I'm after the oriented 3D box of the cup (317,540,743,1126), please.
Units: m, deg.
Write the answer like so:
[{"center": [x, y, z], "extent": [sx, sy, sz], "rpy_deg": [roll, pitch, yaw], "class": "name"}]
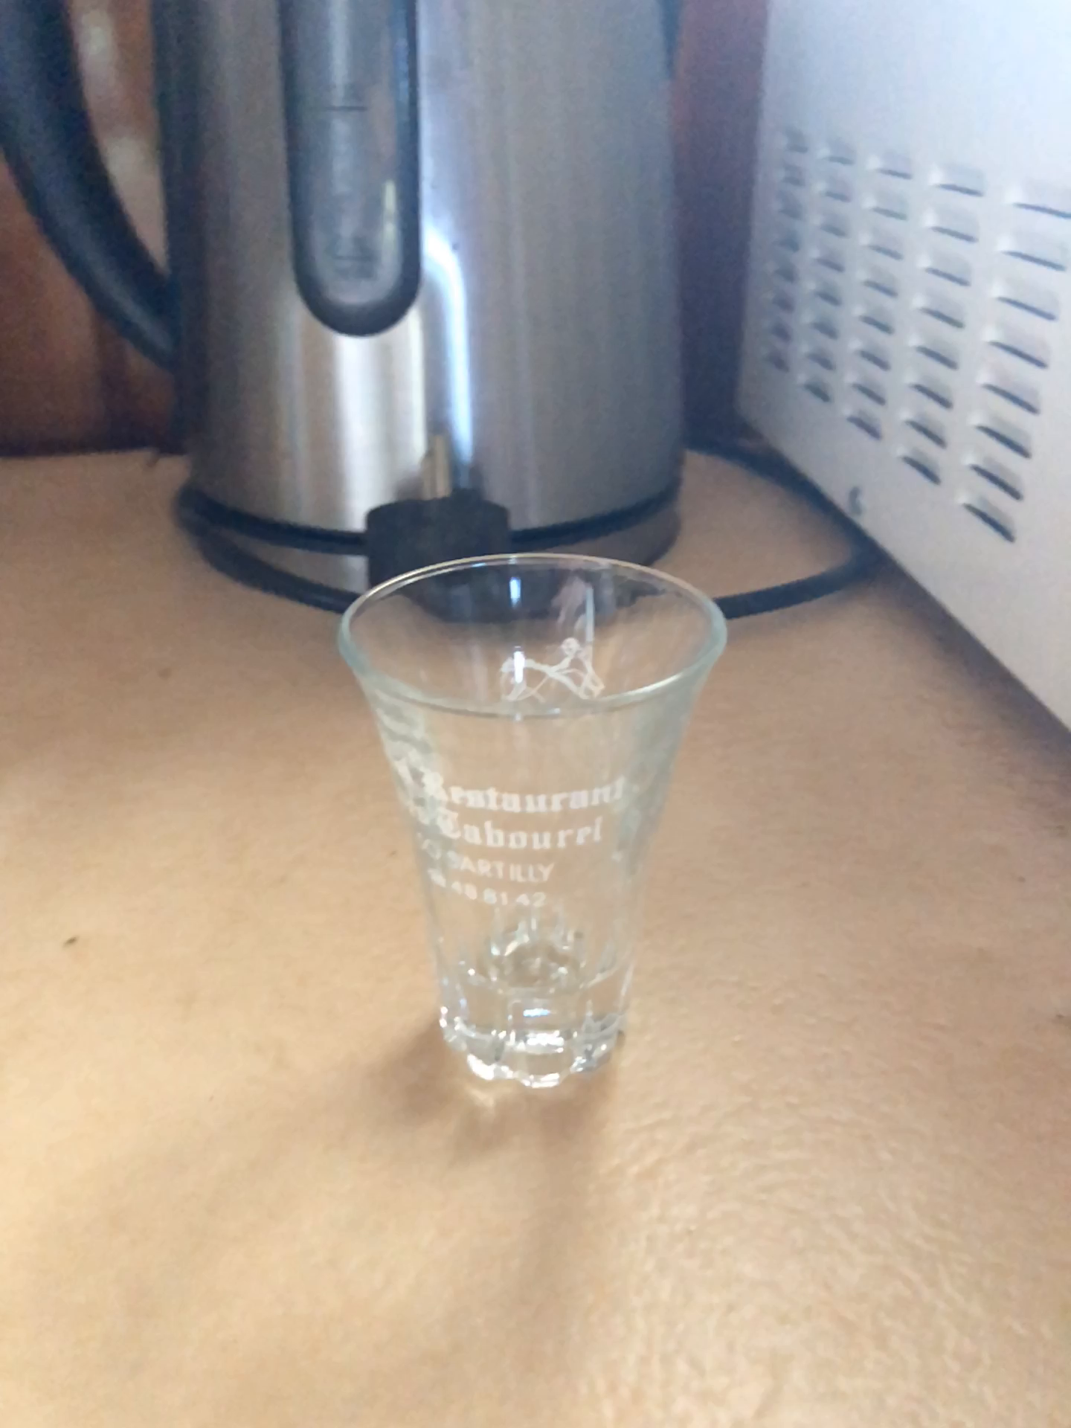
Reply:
[{"center": [0.000, 0.016, 0.179], "extent": [0.050, 0.070, 0.050], "rpy_deg": [0, 28, 0], "class": "cup"}]
